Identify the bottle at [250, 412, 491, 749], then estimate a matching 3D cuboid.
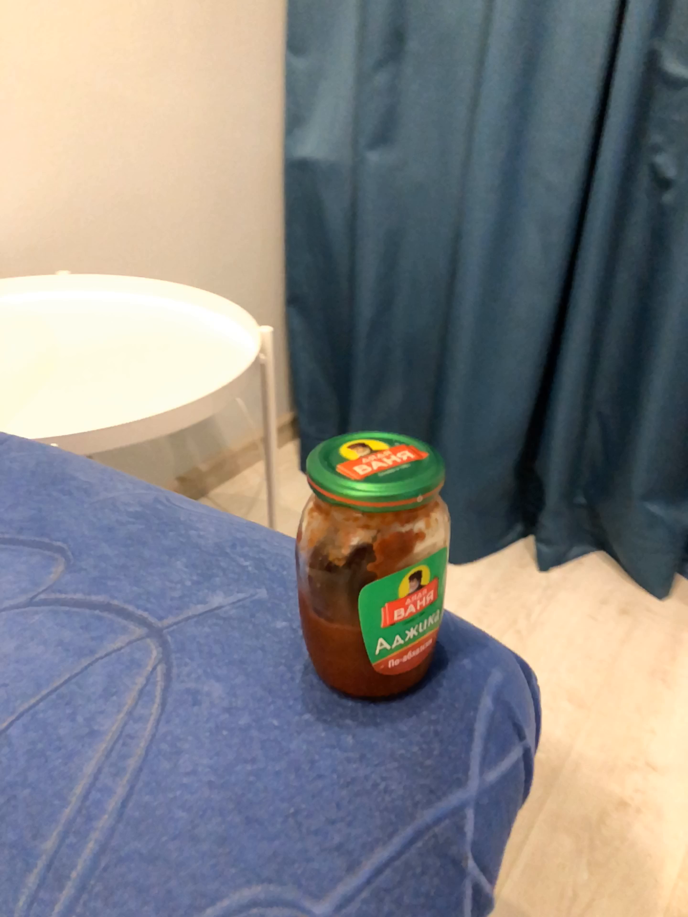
[{"bbox_3d":[0.008,0.042,0.282,0.060,0.092,0.060,-1,26,0],"label":"bottle"}]
